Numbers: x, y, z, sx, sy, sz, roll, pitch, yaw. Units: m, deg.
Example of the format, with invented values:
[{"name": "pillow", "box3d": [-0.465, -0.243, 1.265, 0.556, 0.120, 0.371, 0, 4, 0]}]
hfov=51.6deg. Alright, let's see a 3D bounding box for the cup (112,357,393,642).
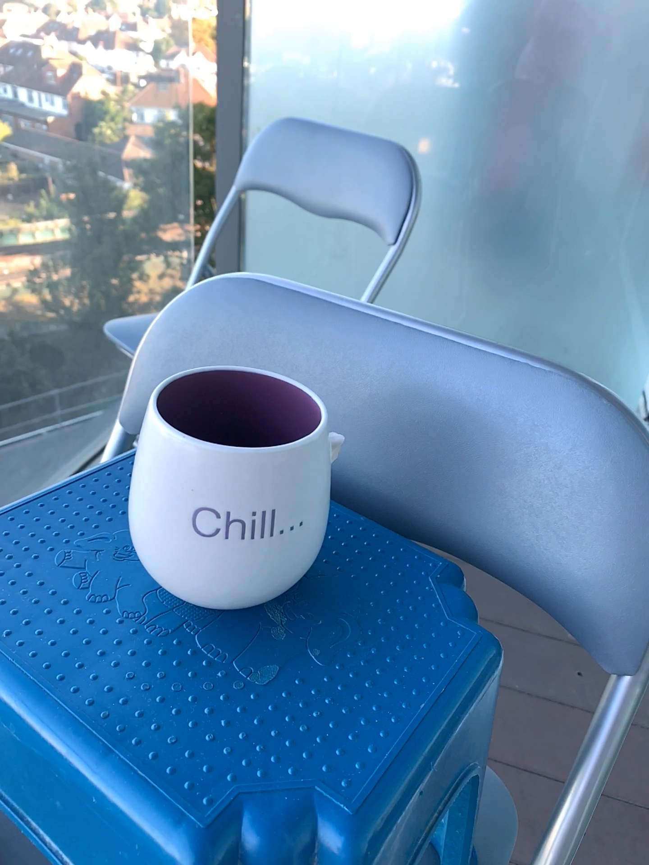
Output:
[{"name": "cup", "box3d": [-0.045, 0.026, 0.354, 0.111, 0.090, 0.105, 7, 30, -4]}]
